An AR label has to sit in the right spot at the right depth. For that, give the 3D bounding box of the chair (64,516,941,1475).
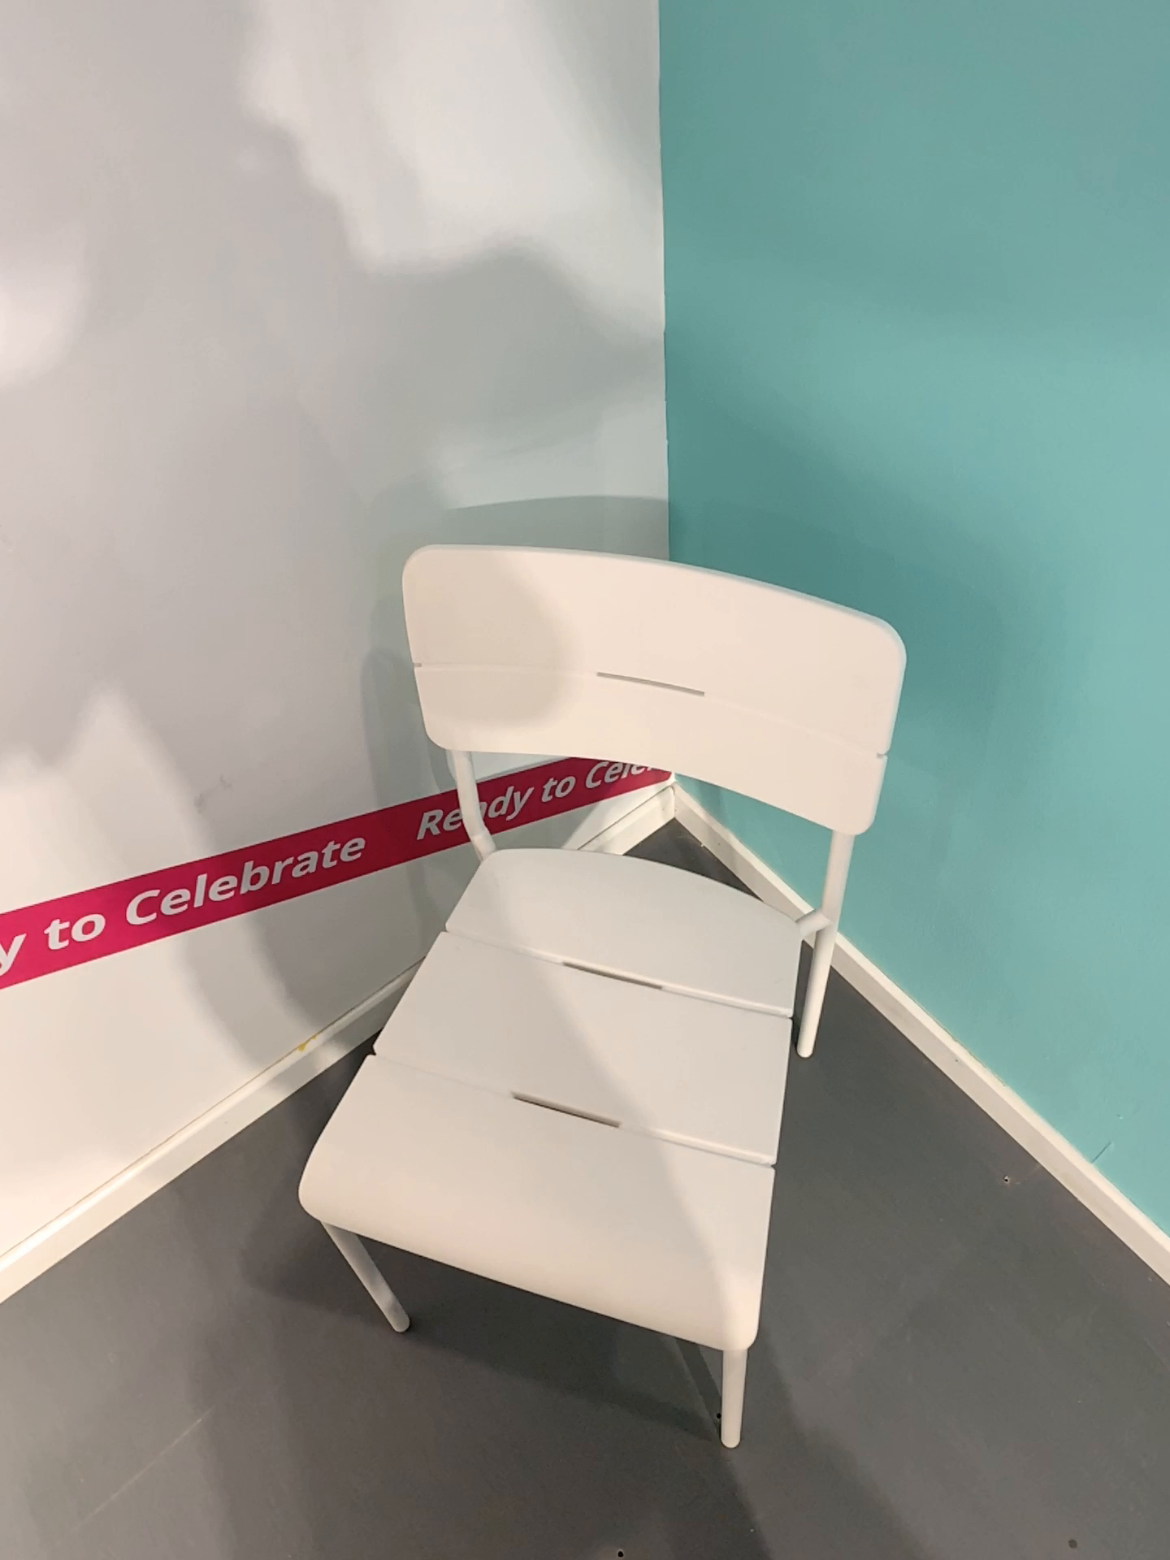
[{"bbox_3d":[0.005,0.254,1.078,0.430,0.808,0.451,12,55,14],"label":"chair"}]
